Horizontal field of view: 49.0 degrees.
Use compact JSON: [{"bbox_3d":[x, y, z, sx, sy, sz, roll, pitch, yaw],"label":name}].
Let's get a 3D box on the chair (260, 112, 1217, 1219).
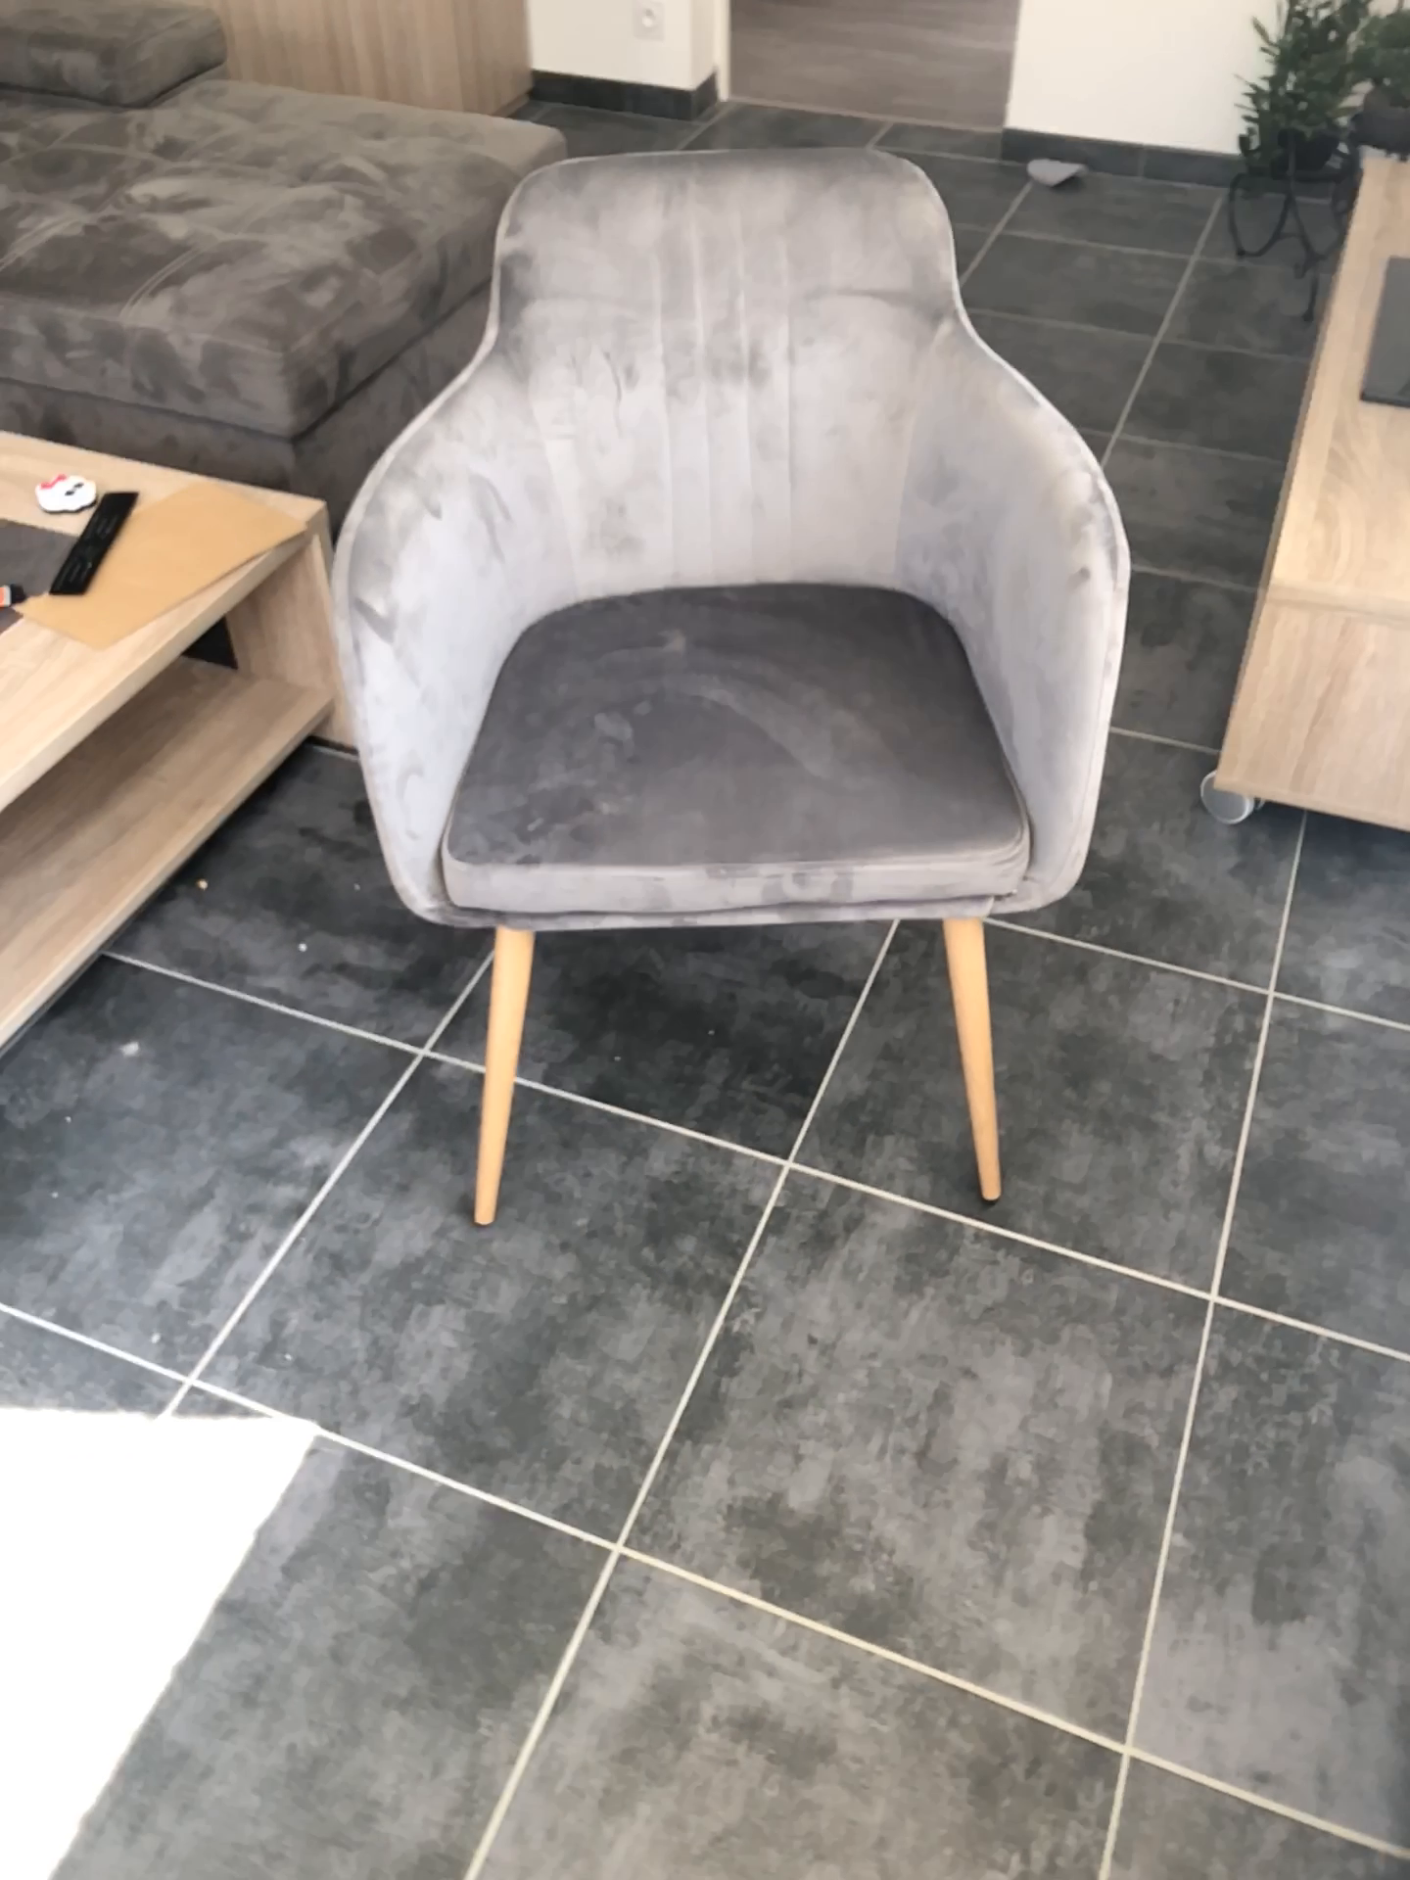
[{"bbox_3d":[0.017,-0.233,1.450,0.590,0.825,0.583,-1,44,-1],"label":"chair"}]
